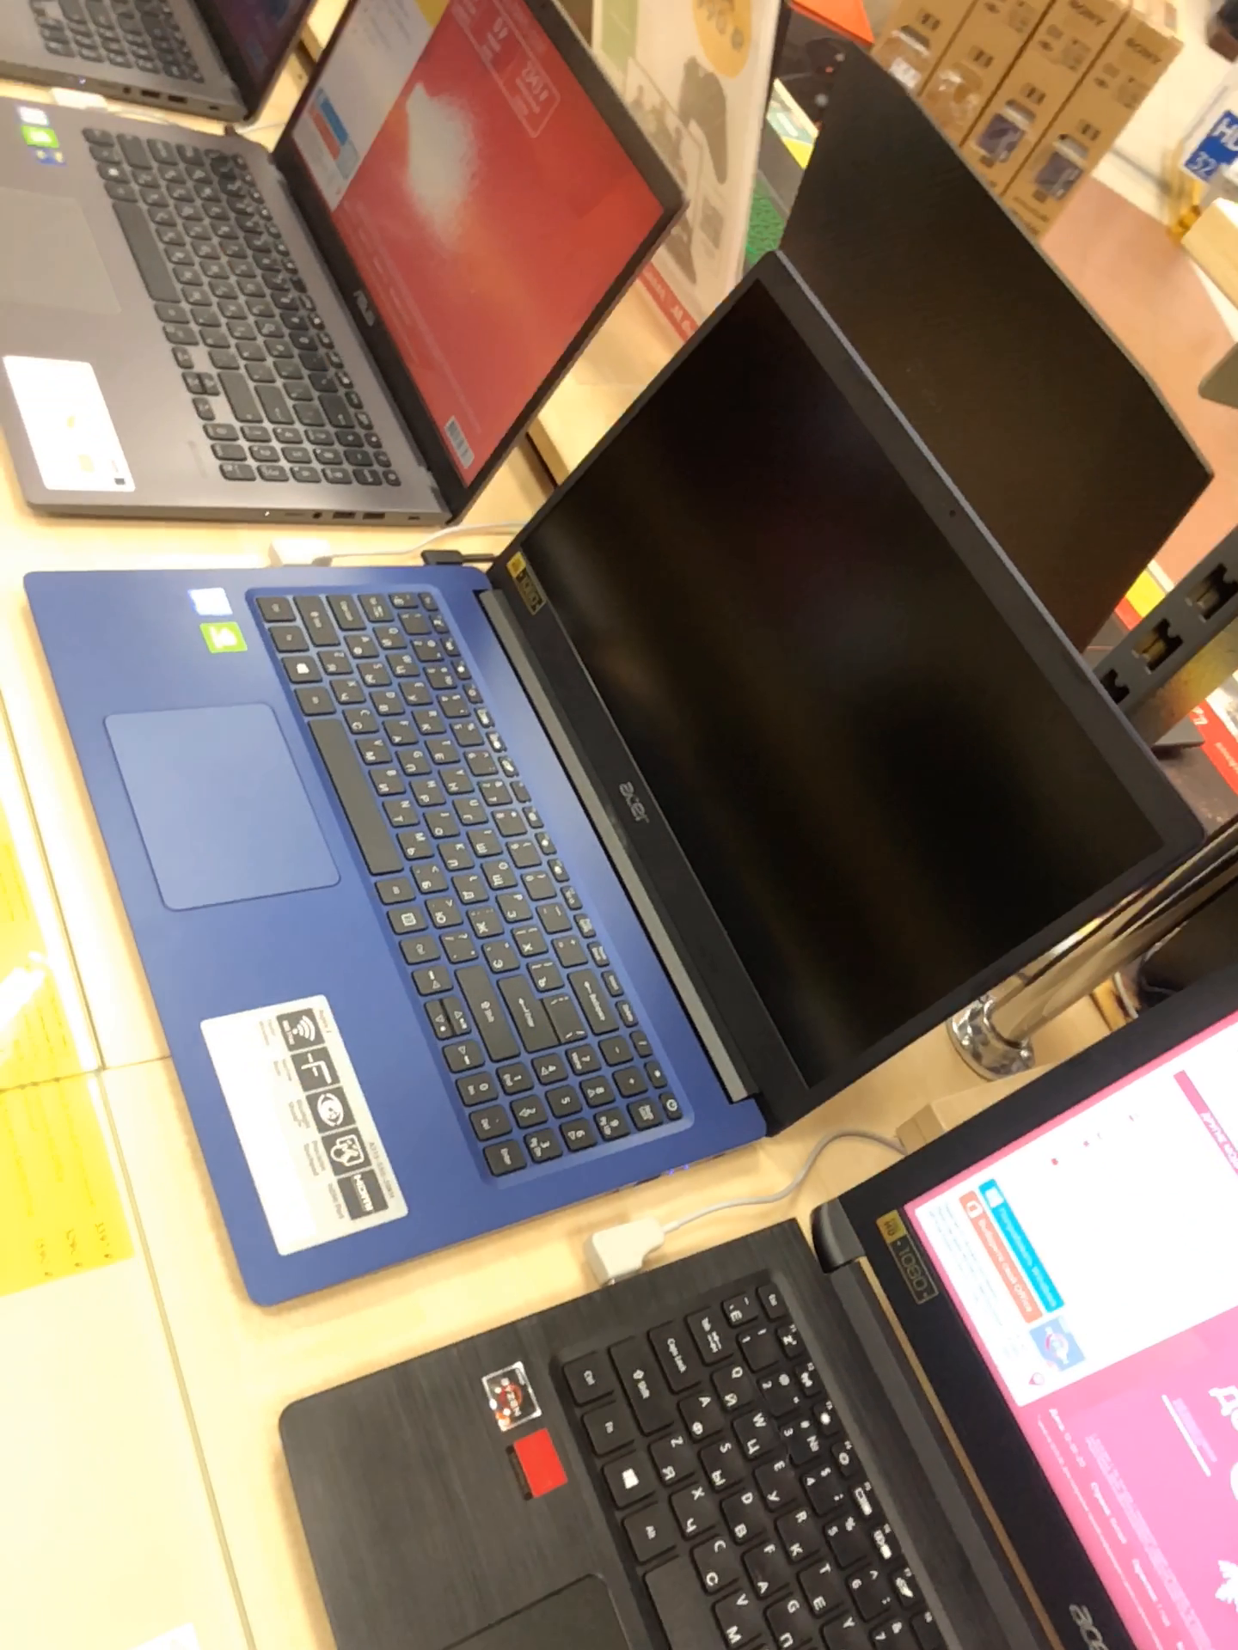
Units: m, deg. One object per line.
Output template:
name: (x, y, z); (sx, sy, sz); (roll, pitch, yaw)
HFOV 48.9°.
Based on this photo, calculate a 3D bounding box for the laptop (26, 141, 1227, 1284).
laptop: (-0.025, -0.063, 0.584); (0.328, 0.221, 0.358); (-8, 58, -34)
